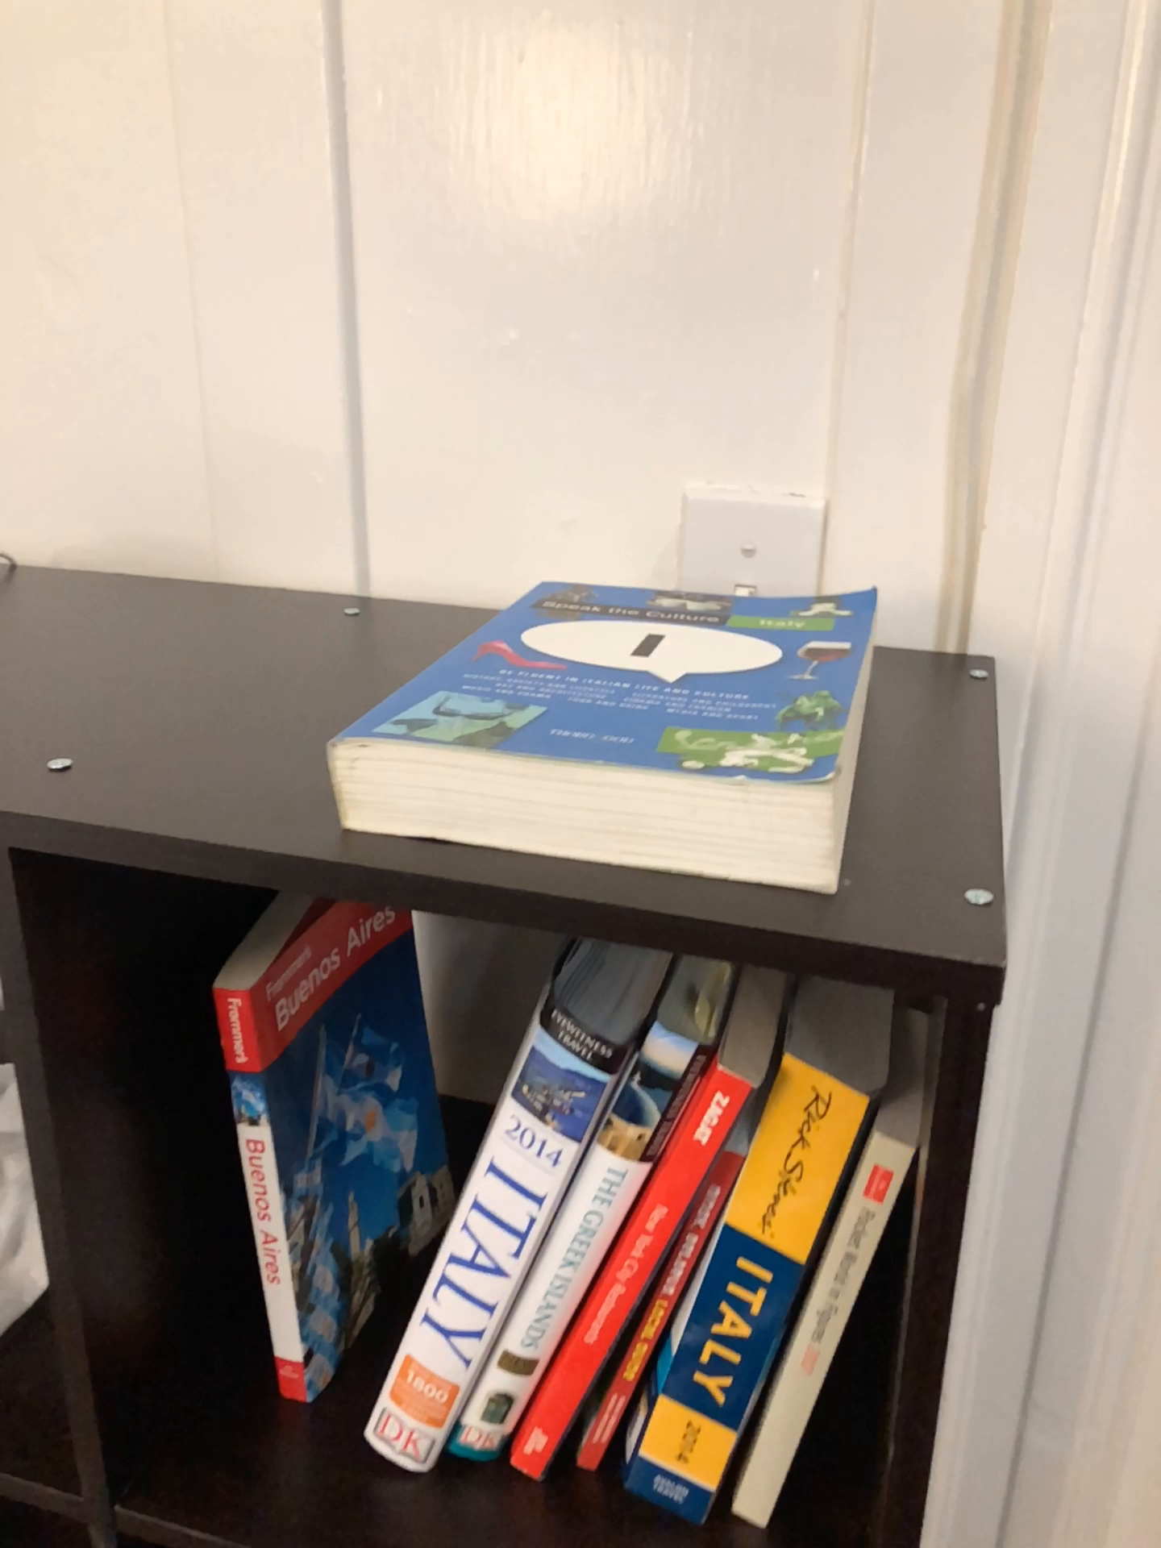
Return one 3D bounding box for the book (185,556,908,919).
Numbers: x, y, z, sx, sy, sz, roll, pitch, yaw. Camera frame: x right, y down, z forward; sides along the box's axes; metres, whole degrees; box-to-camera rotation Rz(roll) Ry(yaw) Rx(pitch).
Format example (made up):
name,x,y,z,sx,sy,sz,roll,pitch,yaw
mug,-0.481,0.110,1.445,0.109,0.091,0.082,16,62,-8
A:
name,x,y,z,sx,sy,sz,roll,pitch,yaw
book,0.015,-0.032,0.470,0.200,0.030,0.261,6,22,13
